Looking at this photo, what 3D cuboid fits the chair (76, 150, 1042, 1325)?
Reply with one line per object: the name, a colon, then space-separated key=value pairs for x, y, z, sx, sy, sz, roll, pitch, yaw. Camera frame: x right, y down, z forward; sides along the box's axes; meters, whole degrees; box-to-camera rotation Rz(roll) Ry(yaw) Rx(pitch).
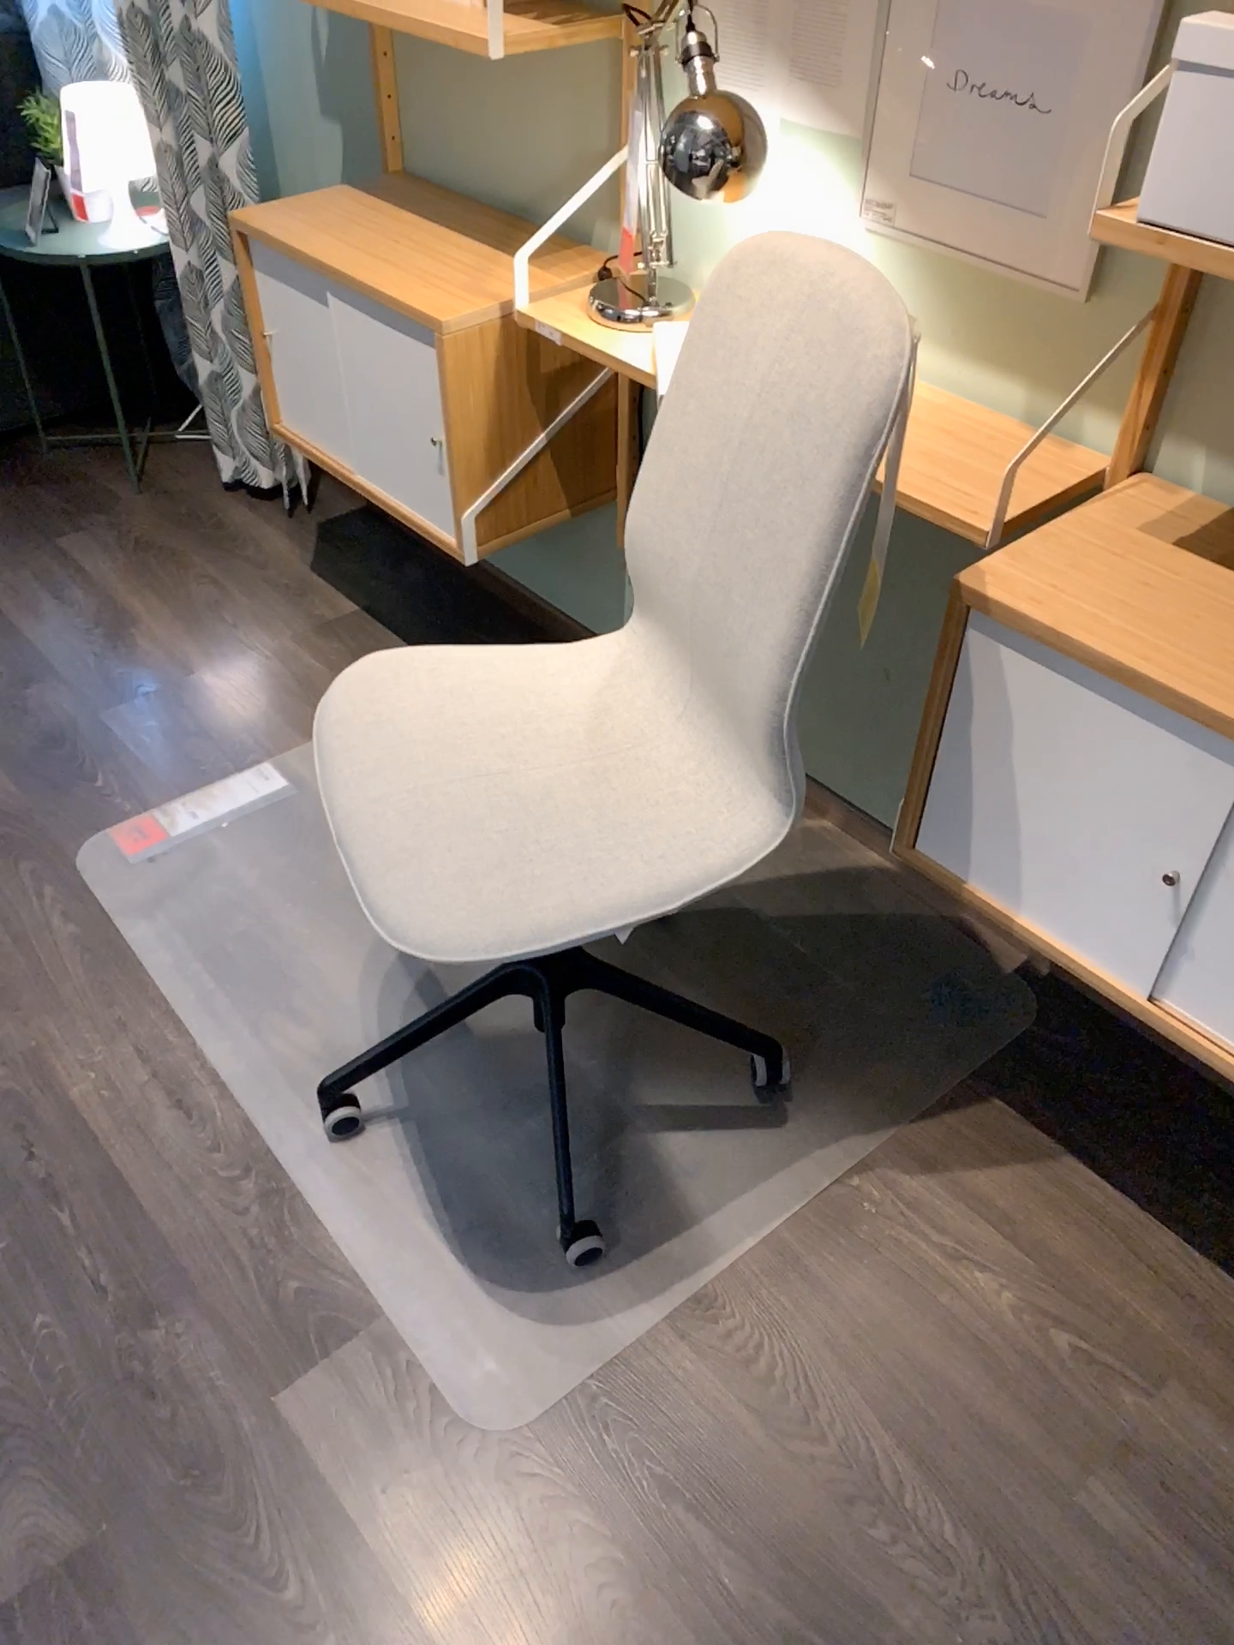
chair: x=-0.105 y=-0.080 z=1.339 sx=0.620 sy=0.966 sz=0.622 roll=-13 pitch=44 yaw=-15
